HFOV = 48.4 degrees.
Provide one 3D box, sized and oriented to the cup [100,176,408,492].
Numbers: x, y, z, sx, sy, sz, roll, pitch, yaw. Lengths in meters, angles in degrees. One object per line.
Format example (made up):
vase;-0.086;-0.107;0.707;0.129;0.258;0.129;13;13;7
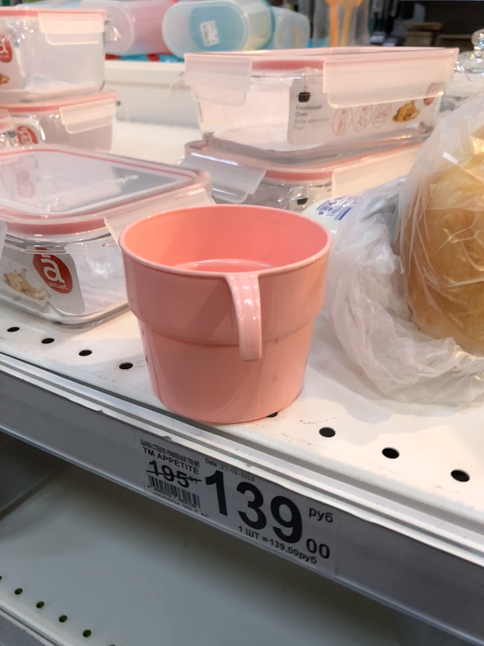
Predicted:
cup;-0.006;-0.008;0.213;0.081;0.070;0.111;-8;30;-16
